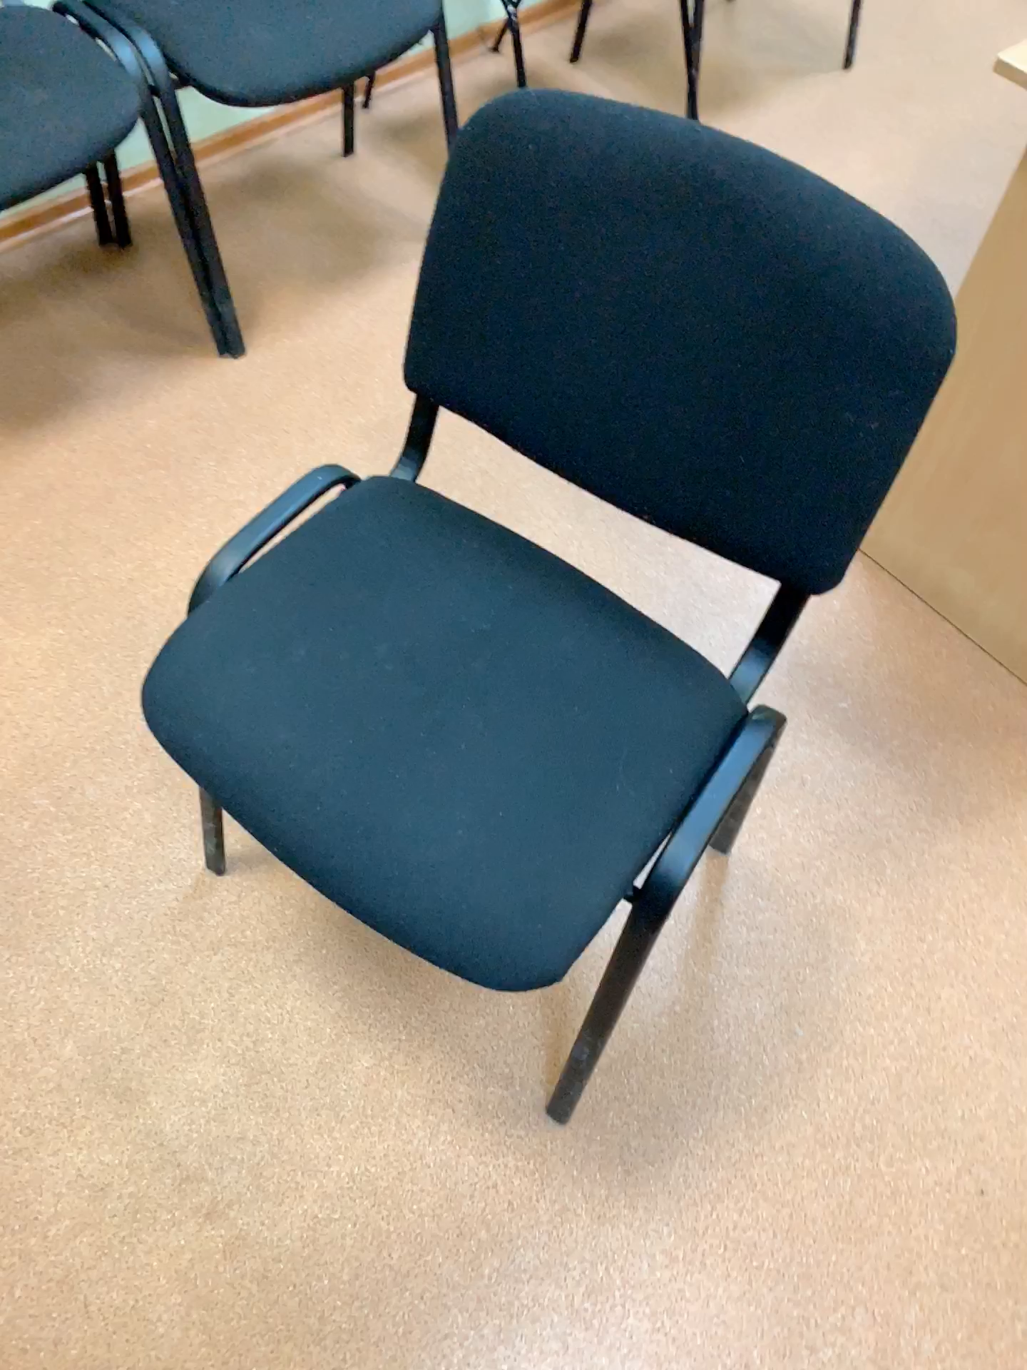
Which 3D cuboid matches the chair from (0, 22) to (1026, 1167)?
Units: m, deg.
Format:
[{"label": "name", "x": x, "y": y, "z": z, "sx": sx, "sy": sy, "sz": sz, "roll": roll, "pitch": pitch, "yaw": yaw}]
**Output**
[{"label": "chair", "x": -0.004, "y": -0.030, "z": 1.030, "sx": 0.575, "sy": 0.785, "sz": 0.593, "roll": 33, "pitch": 61, "yaw": 17}]
